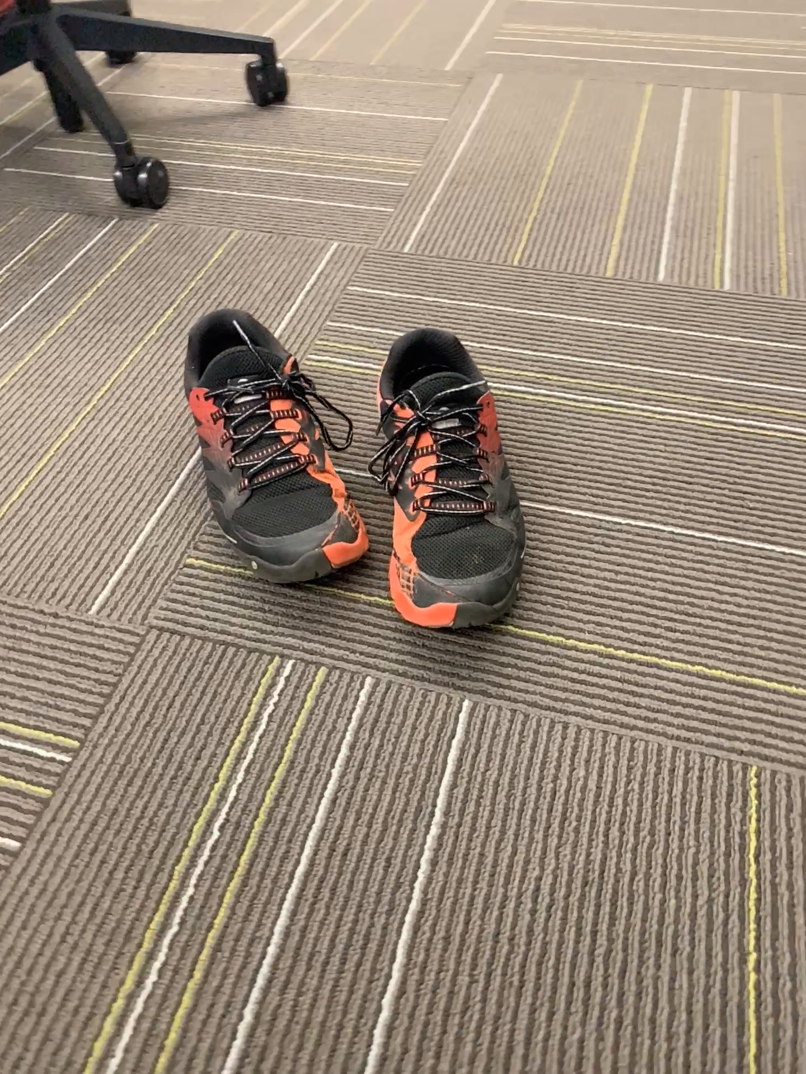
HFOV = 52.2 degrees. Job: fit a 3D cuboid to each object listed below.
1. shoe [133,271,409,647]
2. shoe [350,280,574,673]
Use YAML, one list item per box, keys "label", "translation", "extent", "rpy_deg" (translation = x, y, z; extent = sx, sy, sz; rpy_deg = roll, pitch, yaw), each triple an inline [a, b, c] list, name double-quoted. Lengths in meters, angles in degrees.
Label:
- label: "shoe"
  translation: [-0.119, -0.082, 0.711]
  extent: [0.130, 0.129, 0.312]
  rpy_deg: [-19, 50, -14]
- label: "shoe"
  translation: [0.033, -0.065, 0.683]
  extent: [0.130, 0.129, 0.322]
  rpy_deg: [-5, 48, -2]
